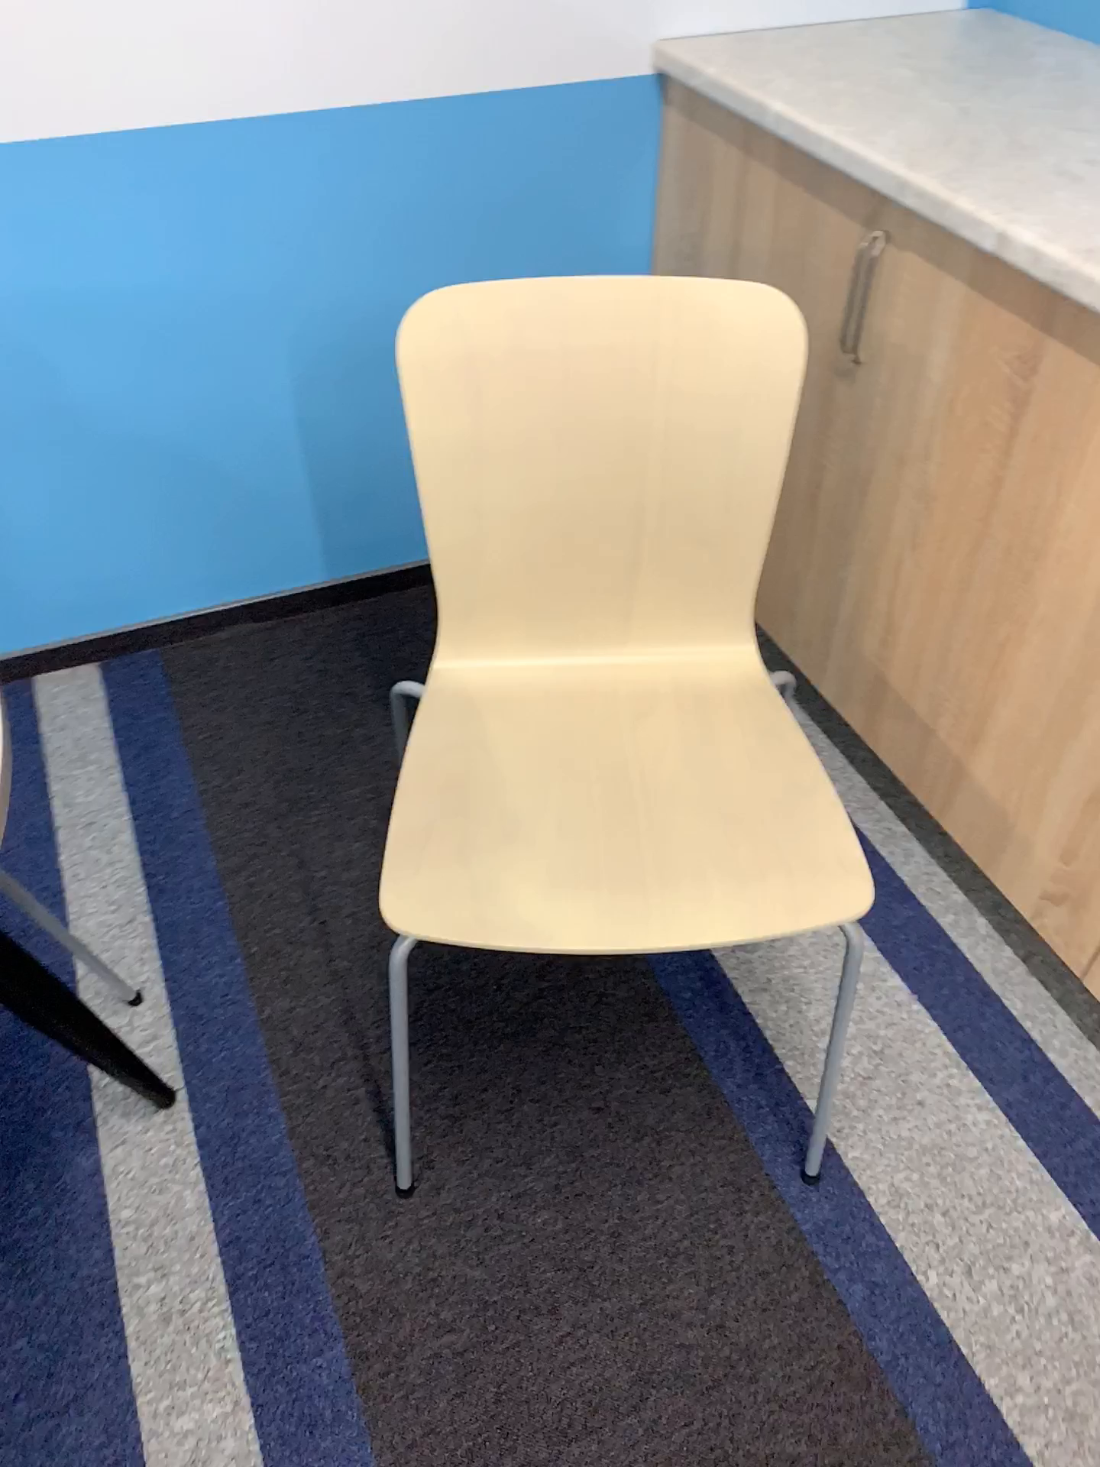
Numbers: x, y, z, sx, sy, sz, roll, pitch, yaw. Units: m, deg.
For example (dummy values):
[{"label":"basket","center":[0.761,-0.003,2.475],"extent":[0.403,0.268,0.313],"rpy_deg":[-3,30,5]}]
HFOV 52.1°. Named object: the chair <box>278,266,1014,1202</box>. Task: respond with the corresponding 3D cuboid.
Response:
[{"label":"chair","center":[0.053,0.026,1.217],"extent":[0.476,0.836,0.573],"rpy_deg":[-1,42,-2]}]
